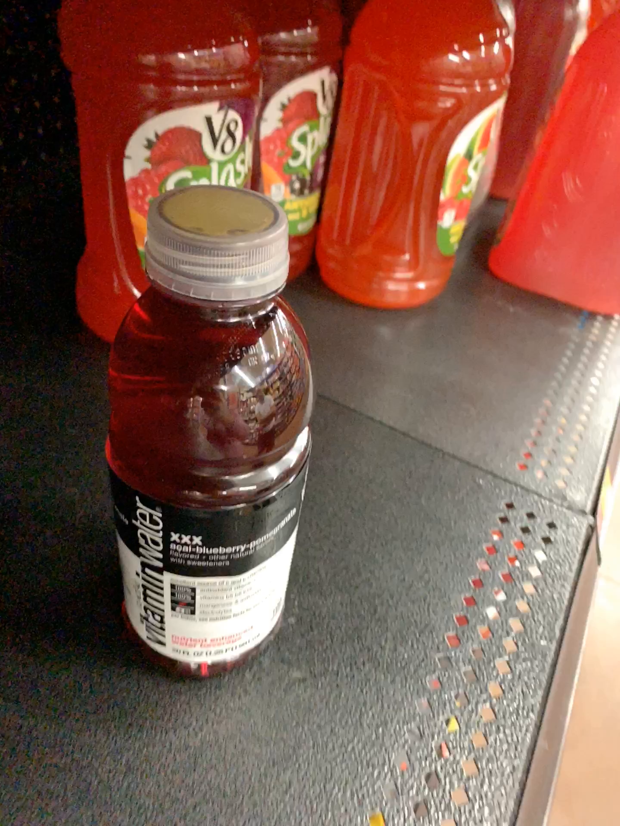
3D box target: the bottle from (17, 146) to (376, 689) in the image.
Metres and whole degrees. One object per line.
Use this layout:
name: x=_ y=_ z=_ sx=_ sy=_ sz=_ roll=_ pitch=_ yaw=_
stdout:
bottle: x=-0.036 y=0.015 z=0.234 sx=0.080 sy=0.179 sz=0.080 roll=6 pitch=41 yaw=-6
